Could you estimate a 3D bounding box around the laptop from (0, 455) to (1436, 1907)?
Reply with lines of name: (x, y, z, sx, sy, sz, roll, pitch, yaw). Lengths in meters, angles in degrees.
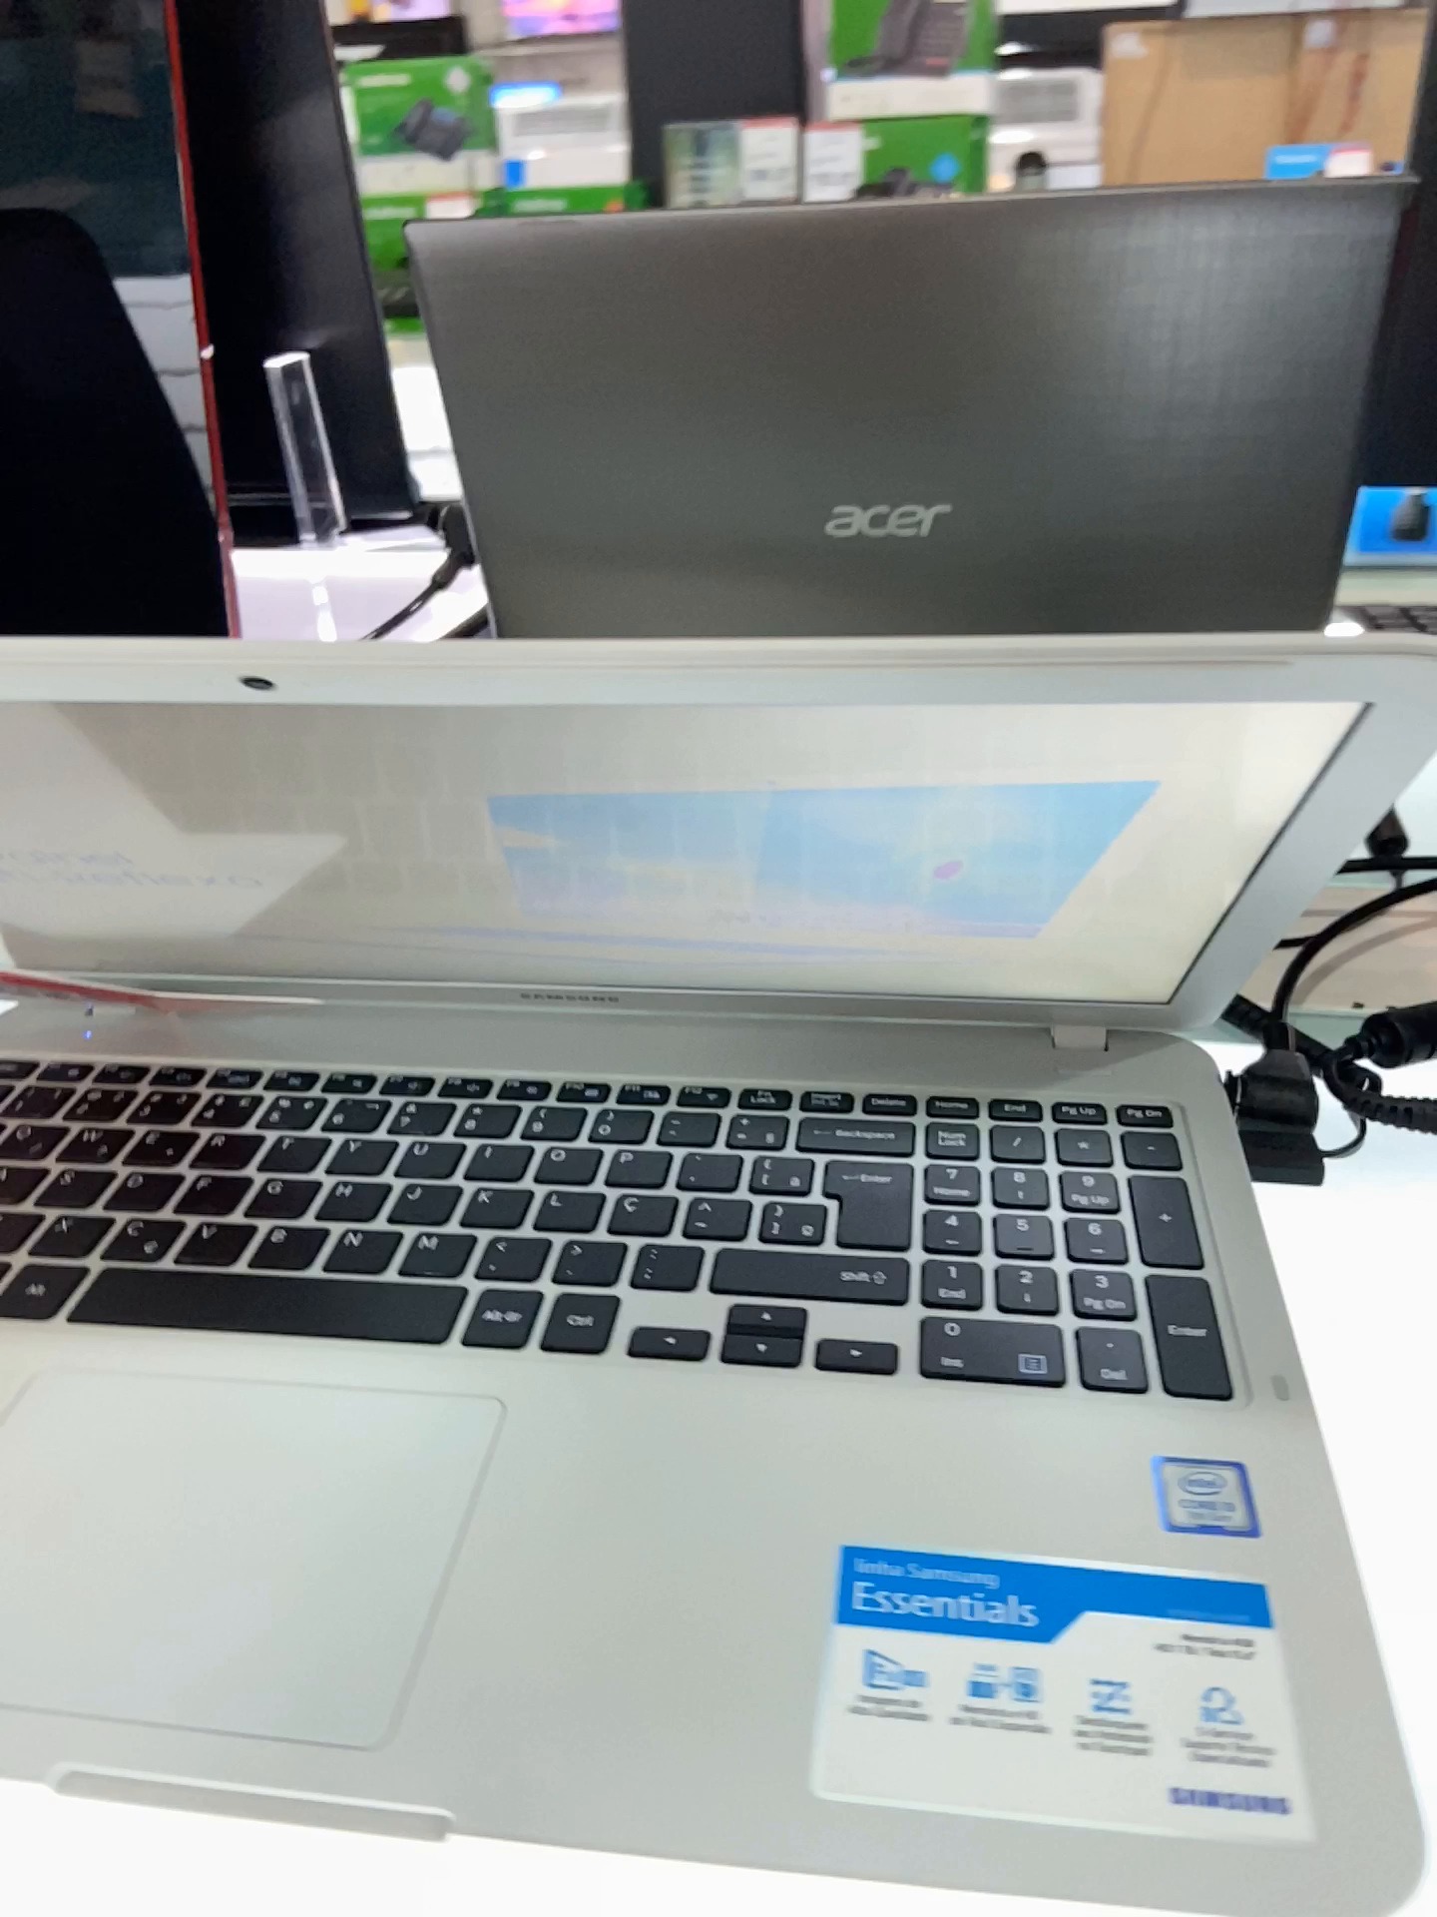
laptop: (-0.064, 0.007, 0.308, 0.367, 0.162, 0.233, 1, 29, 9)
